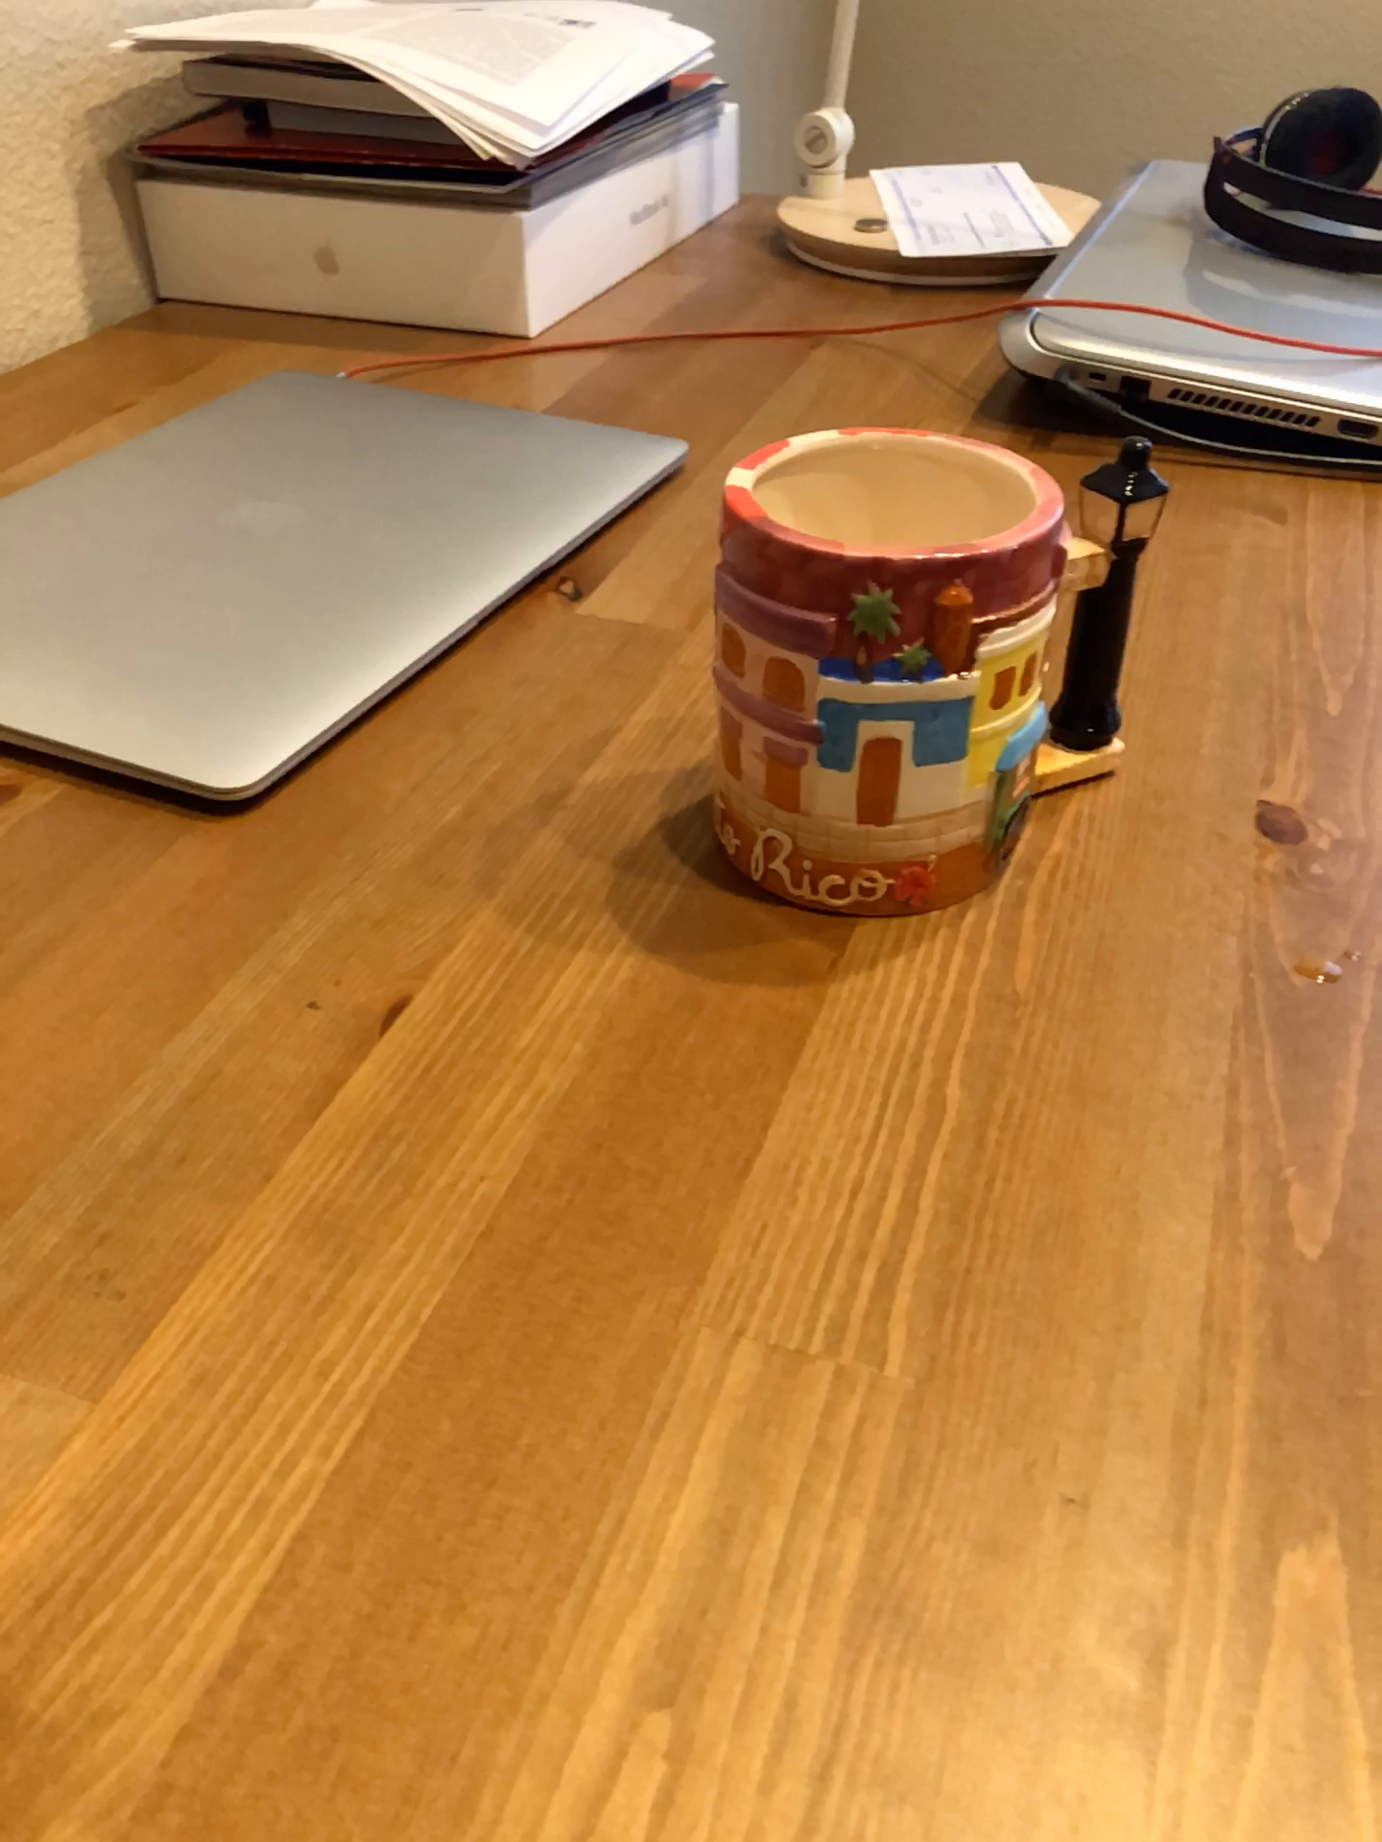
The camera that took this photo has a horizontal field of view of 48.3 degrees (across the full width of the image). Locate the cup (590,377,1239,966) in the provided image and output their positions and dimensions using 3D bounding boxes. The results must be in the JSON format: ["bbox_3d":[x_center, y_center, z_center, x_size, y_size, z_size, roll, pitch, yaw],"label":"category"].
[{"bbox_3d":[0.055,-0.071,0.399,0.130,0.090,0.090,-26,43,-30],"label":"cup"}]
